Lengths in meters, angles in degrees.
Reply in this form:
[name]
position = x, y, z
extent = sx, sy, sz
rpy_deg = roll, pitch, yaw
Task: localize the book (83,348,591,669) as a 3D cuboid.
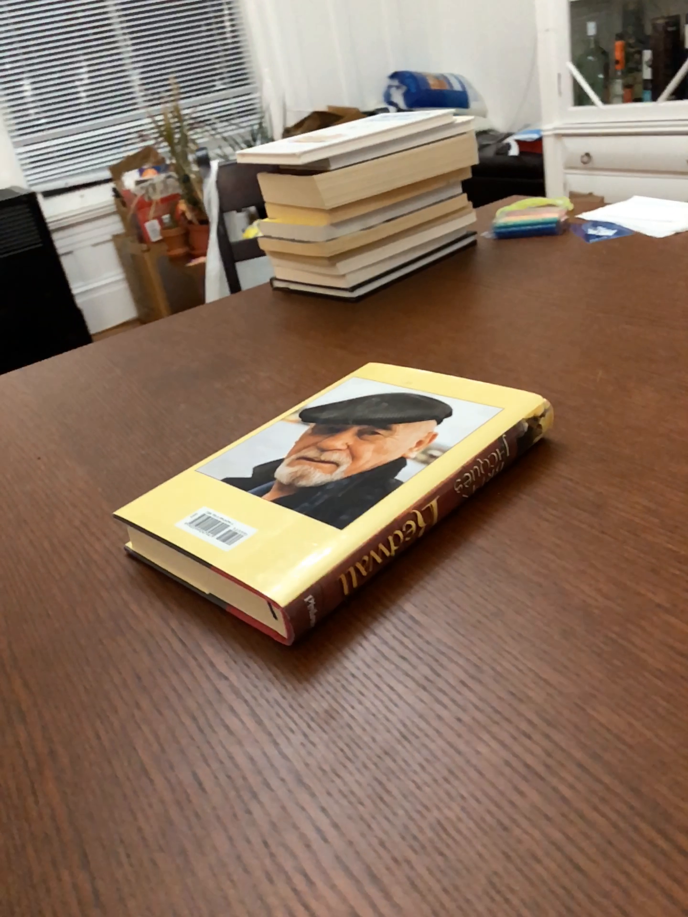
[book]
position = 0.000, 0.003, 0.465
extent = 0.190, 0.030, 0.251
rpy_deg = 18, 39, 43
